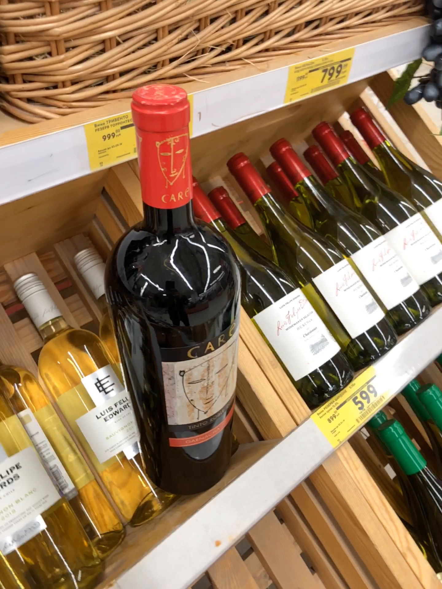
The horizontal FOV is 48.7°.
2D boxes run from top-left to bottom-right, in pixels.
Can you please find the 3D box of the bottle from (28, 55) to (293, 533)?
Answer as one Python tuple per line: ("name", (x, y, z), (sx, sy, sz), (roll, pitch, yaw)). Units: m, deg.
("bottle", (-0.035, 0.031, 0.371), (0.100, 0.358, 0.100), (0, 40, 0))
